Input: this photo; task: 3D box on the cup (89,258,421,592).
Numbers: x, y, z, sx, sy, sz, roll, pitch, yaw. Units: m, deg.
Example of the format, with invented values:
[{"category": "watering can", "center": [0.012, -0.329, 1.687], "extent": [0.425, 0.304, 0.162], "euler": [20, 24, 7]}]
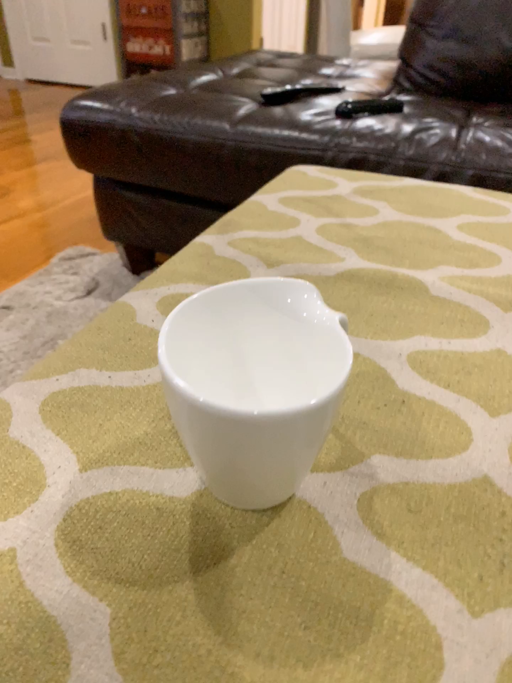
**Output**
[{"category": "cup", "center": [0.000, 0.028, 0.246], "extent": [0.109, 0.079, 0.089], "euler": [-25, 42, -33]}]
